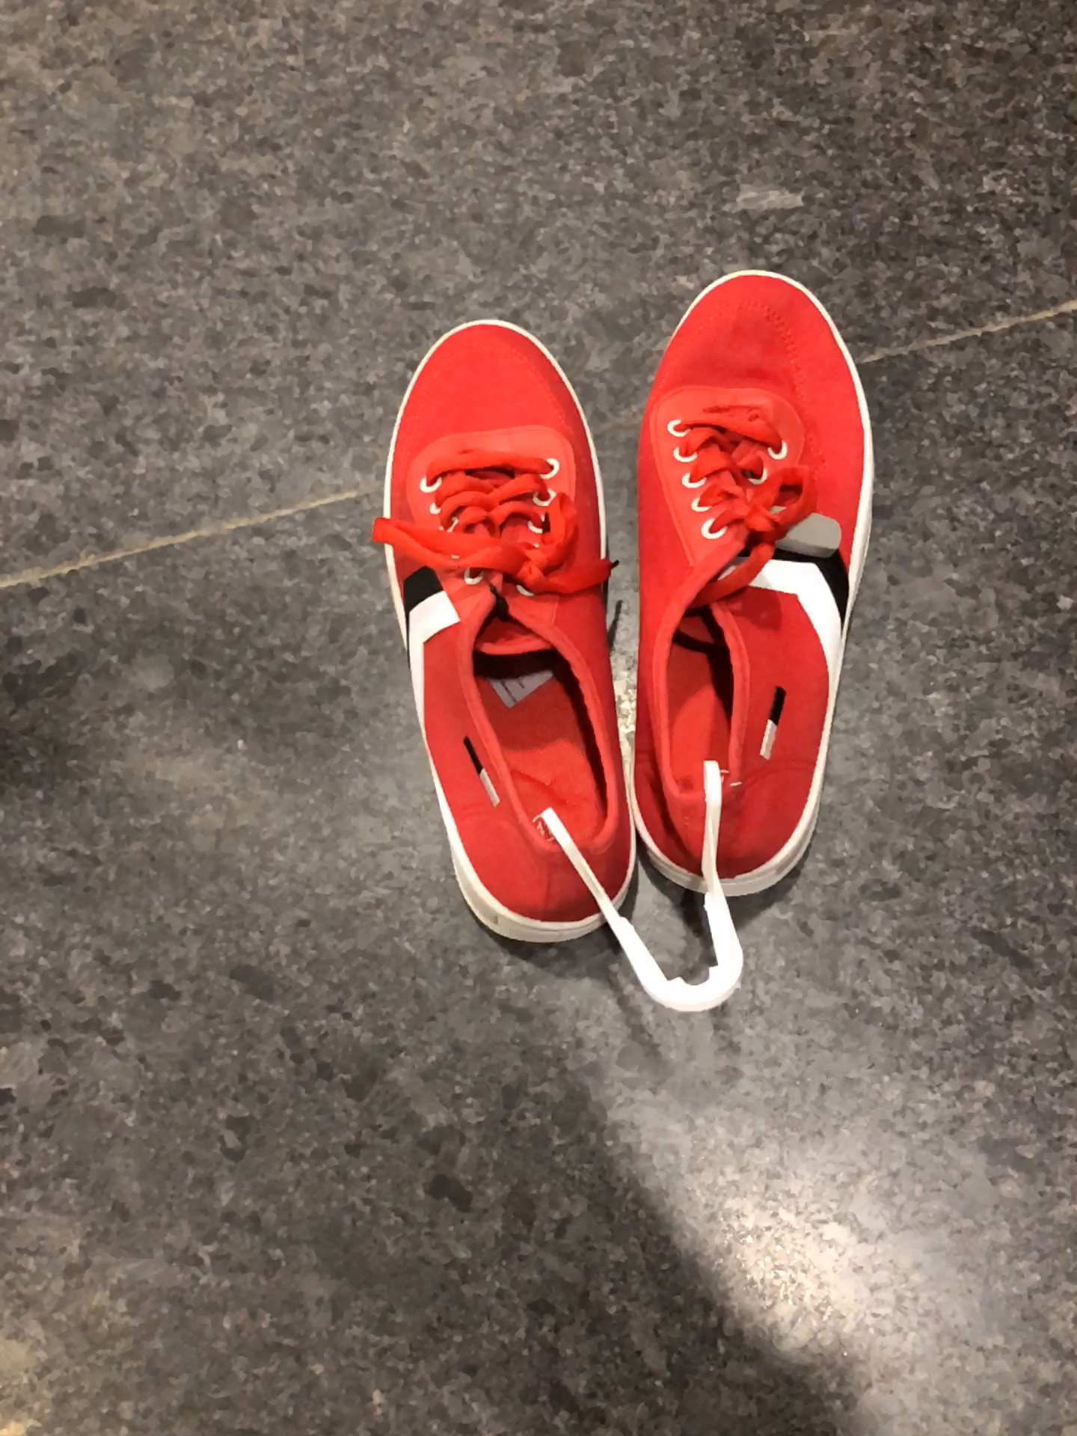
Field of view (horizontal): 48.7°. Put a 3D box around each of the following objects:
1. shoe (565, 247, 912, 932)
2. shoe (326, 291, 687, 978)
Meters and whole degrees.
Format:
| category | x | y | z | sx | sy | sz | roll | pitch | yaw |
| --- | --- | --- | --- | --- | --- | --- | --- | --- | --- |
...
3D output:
| category | x | y | z | sx | sy | sz | roll | pitch | yaw |
| --- | --- | --- | --- | --- | --- | --- | --- | --- | --- |
| shoe | 0.076 | -0.048 | 0.448 | 0.103 | 0.090 | 0.234 | 5 | 72 | 7 |
| shoe | -0.013 | -0.030 | 0.453 | 0.101 | 0.090 | 0.233 | -8 | 71 | 2 |
